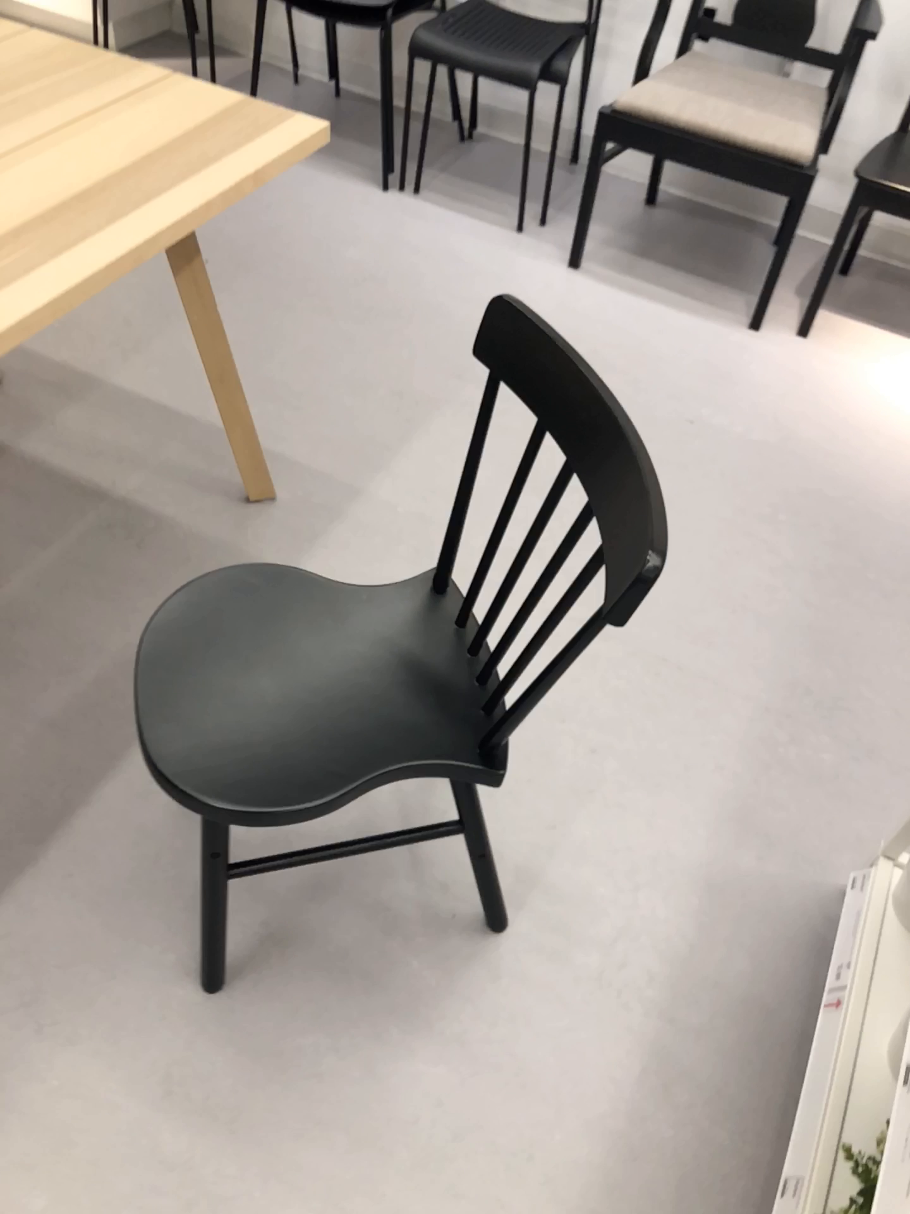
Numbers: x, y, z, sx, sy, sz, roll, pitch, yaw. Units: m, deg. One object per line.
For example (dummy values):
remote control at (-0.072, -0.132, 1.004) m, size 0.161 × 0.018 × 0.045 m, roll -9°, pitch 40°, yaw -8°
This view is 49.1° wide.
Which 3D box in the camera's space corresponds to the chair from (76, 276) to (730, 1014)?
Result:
chair at (-0.111, 0.064, 1.195) m, size 0.520 × 0.716 × 0.483 m, roll -6°, pitch 49°, yaw -13°
